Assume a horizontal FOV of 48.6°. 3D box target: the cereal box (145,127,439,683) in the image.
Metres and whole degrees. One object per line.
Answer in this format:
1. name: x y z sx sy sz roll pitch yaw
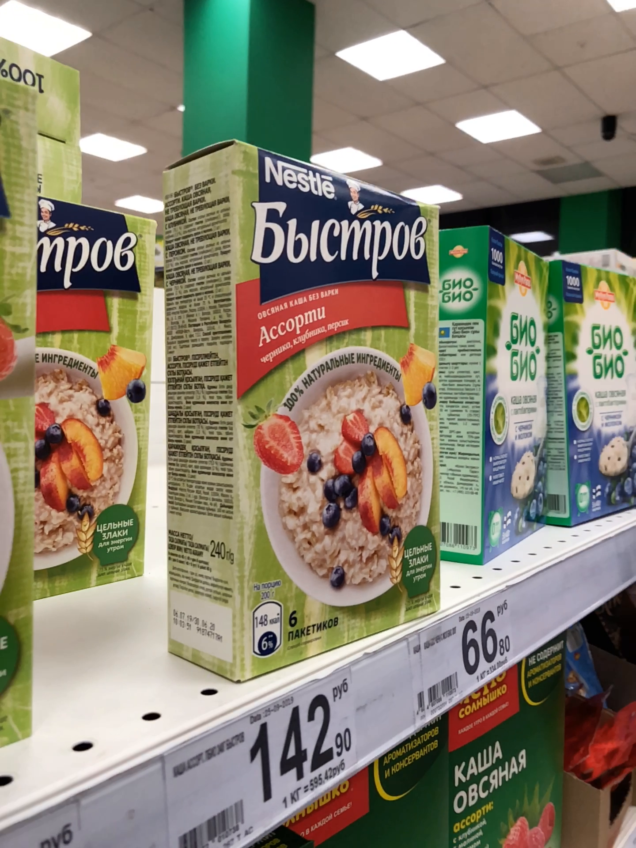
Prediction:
1. cereal box: -0.006 -0.009 0.317 0.130 0.200 0.050 -2 2 -44
